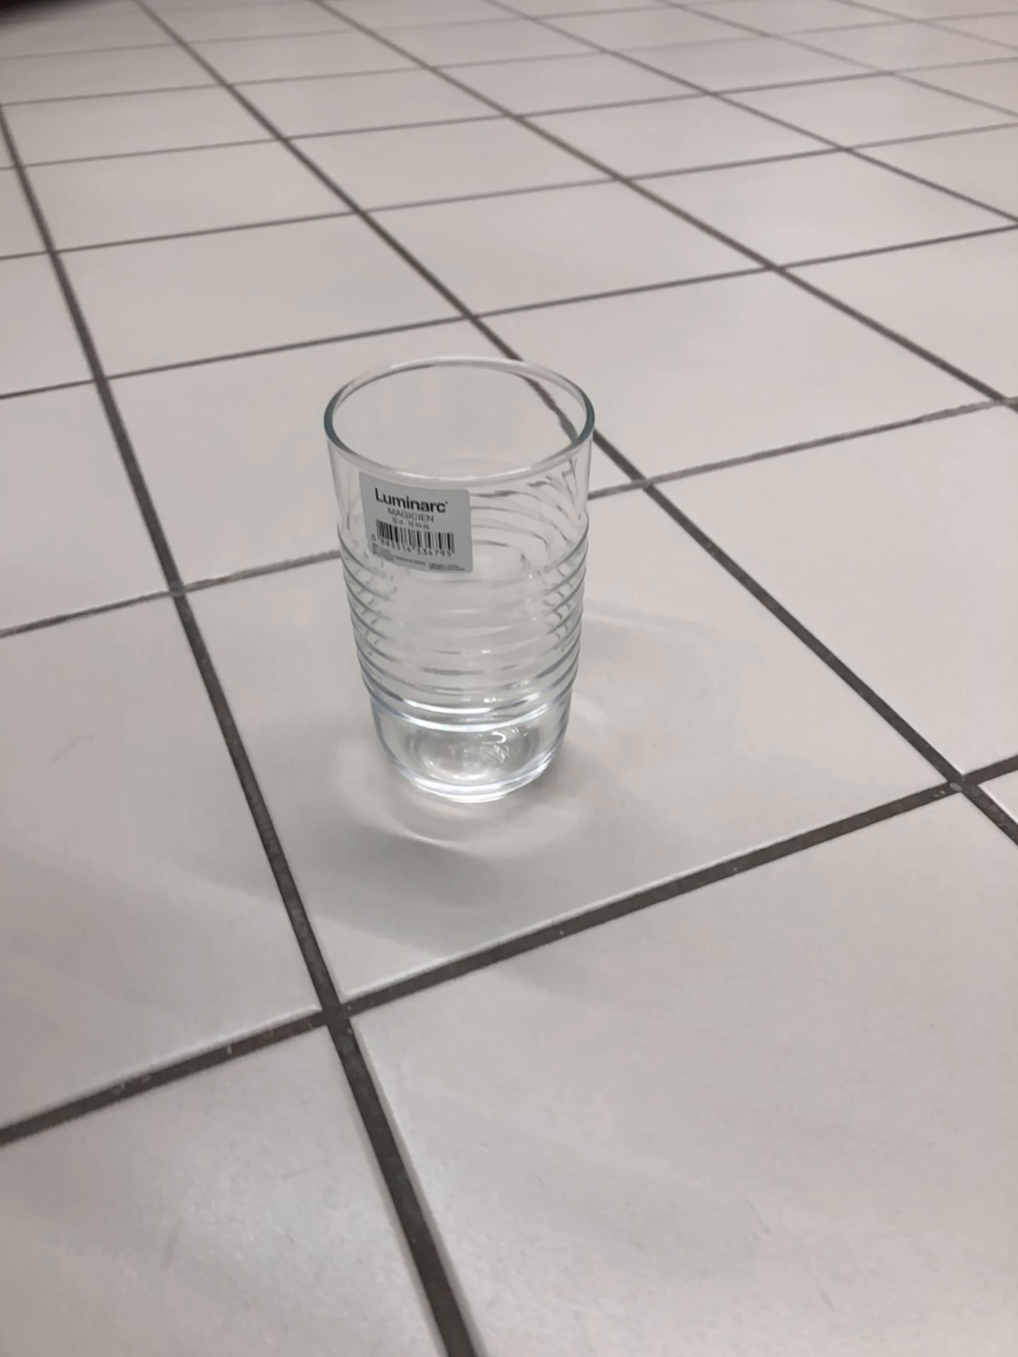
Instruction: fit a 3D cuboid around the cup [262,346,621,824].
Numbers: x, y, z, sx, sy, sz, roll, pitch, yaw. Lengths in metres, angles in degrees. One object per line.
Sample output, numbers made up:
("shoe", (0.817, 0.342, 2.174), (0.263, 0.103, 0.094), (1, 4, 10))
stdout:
("cup", (-0.016, -0.025, 0.311), (0.079, 0.104, 0.077), (0, 39, 0))
